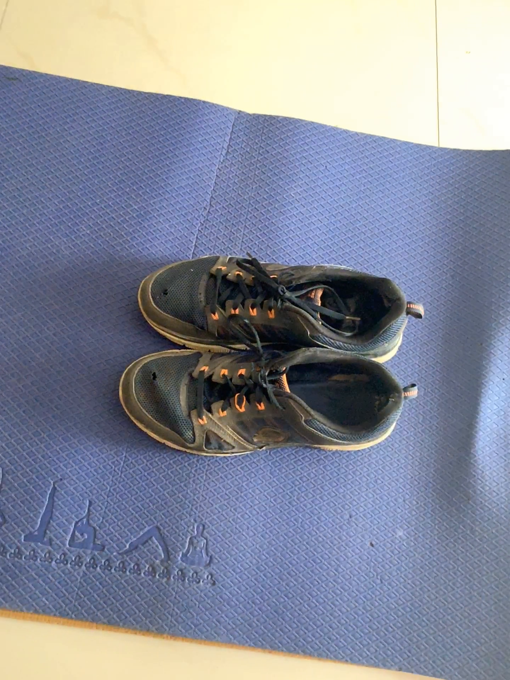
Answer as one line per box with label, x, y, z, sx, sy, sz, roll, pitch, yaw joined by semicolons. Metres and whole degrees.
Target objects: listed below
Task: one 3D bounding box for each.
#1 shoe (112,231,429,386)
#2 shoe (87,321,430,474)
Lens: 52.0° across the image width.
shoe;0.018;-0.030;0.593;0.320;0.100;0.100;10;77;-1
shoe;0.006;0.064;0.535;0.310;0.100;0.110;5;70;-3
